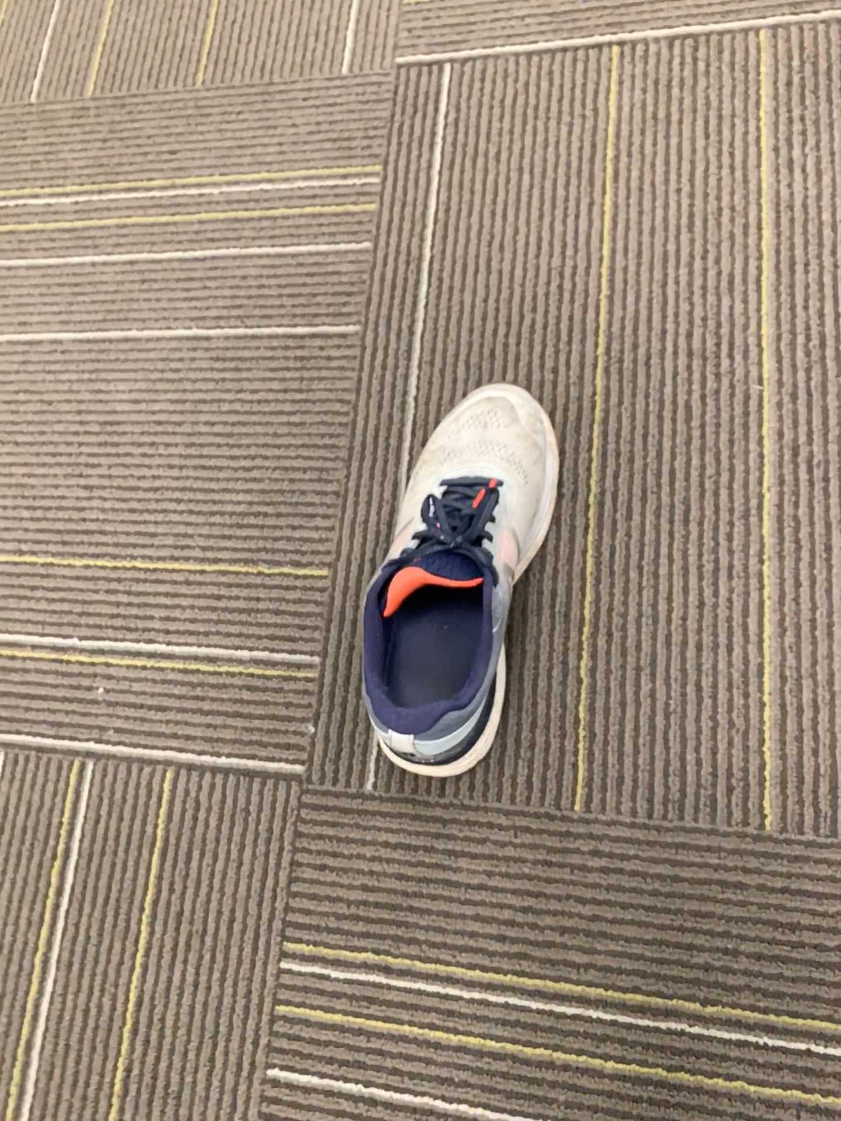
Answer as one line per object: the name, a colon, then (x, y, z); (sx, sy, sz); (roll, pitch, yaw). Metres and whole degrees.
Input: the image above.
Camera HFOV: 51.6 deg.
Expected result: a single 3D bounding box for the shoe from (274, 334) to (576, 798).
shoe: (0.012, 0.000, 0.599); (0.130, 0.080, 0.290); (10, 76, 16)
